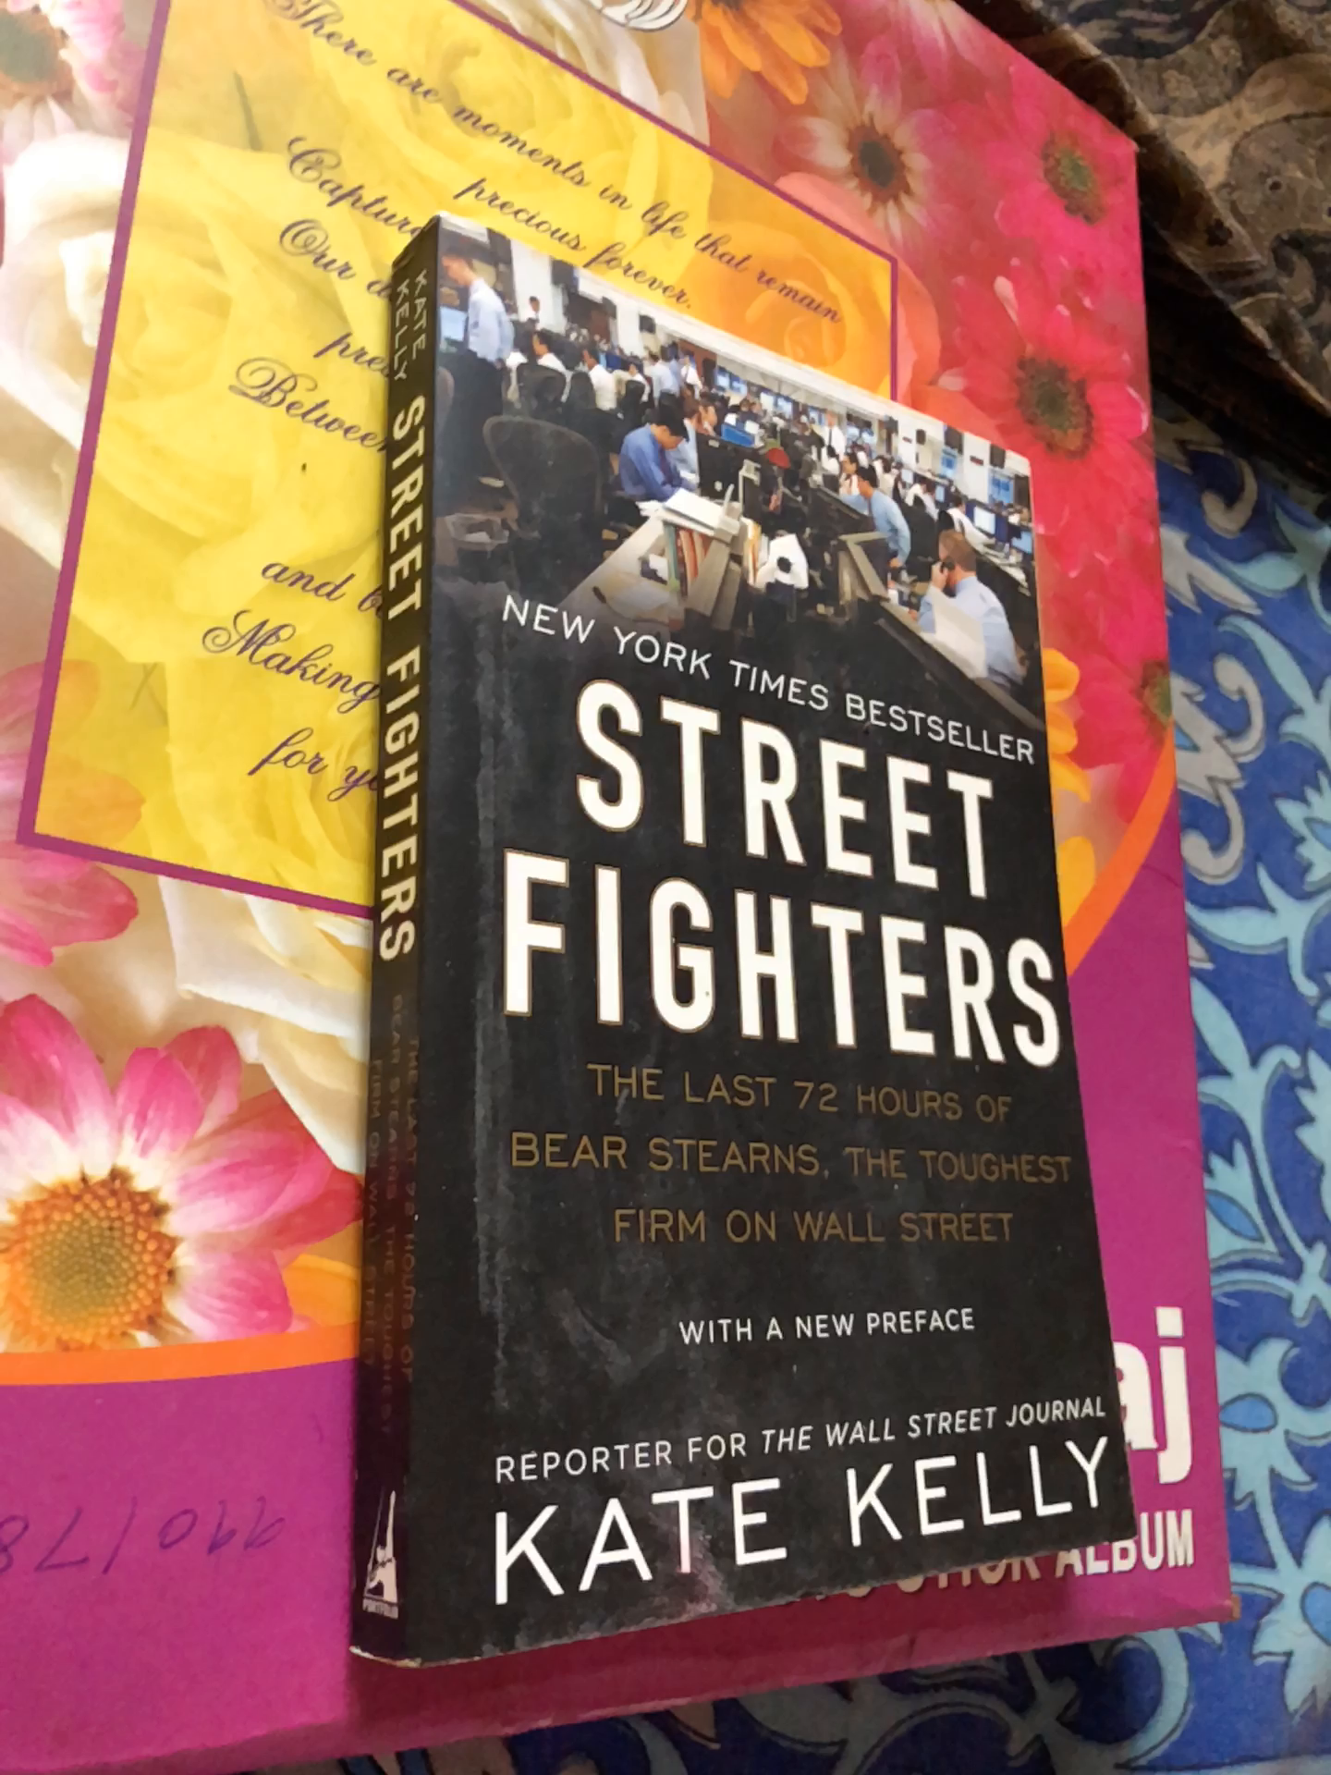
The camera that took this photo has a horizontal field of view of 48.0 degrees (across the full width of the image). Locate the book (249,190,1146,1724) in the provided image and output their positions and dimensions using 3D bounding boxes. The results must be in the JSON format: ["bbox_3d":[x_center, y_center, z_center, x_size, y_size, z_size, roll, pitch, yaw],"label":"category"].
[{"bbox_3d":[0.011,0.008,0.249,0.141,0.030,0.210,8,73,-31],"label":"book"}]
